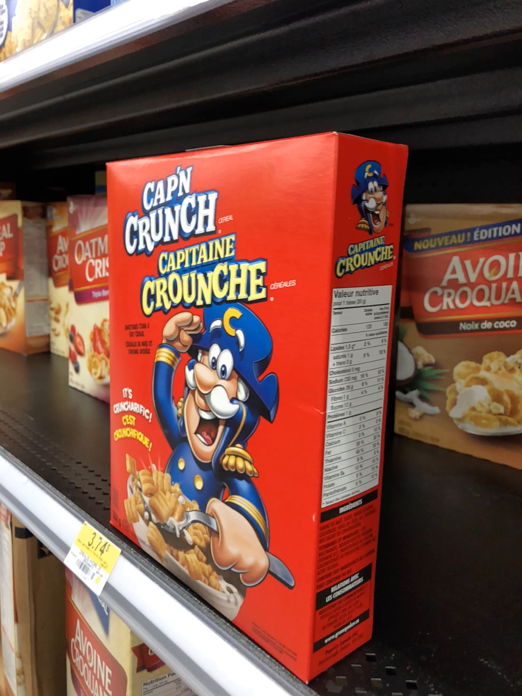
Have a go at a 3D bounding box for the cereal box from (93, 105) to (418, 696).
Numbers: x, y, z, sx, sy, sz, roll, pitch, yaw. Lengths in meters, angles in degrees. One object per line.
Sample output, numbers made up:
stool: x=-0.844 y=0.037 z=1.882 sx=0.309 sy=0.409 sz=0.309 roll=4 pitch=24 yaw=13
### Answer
cereal box: x=-0.024 y=0.016 z=0.363 sx=0.060 sy=0.279 sz=0.221 roll=-8 pitch=15 yaw=-41
